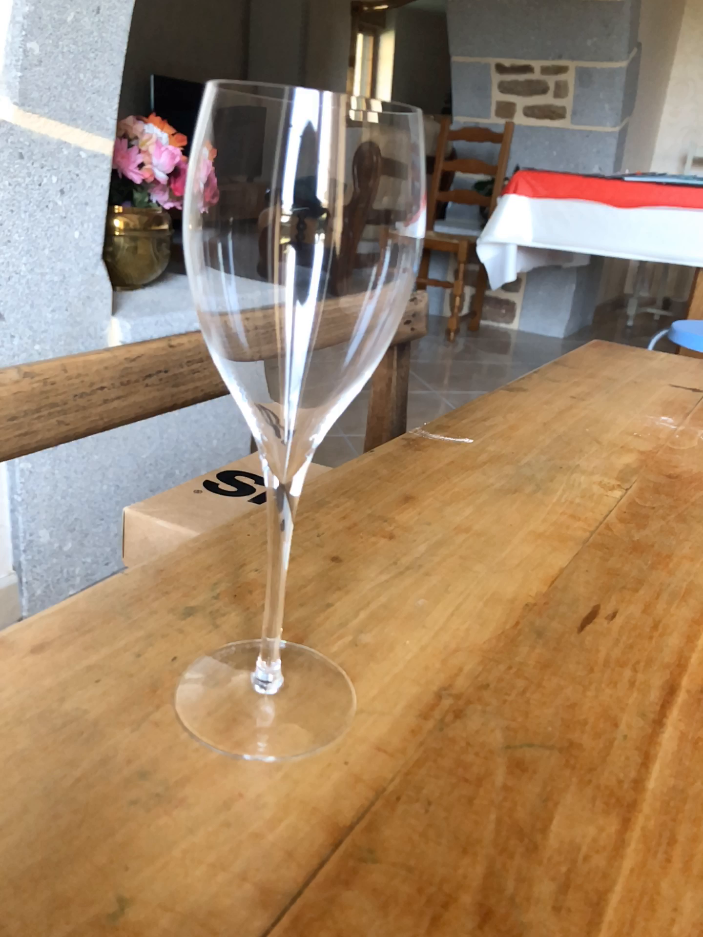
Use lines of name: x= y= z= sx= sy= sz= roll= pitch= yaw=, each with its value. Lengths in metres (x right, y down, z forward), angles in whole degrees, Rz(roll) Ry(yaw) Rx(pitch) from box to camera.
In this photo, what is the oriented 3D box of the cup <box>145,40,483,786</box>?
cup: x=-0.013 y=-0.014 z=0.255 sx=0.080 sy=0.209 sz=0.080 roll=5 pitch=21 yaw=-2
